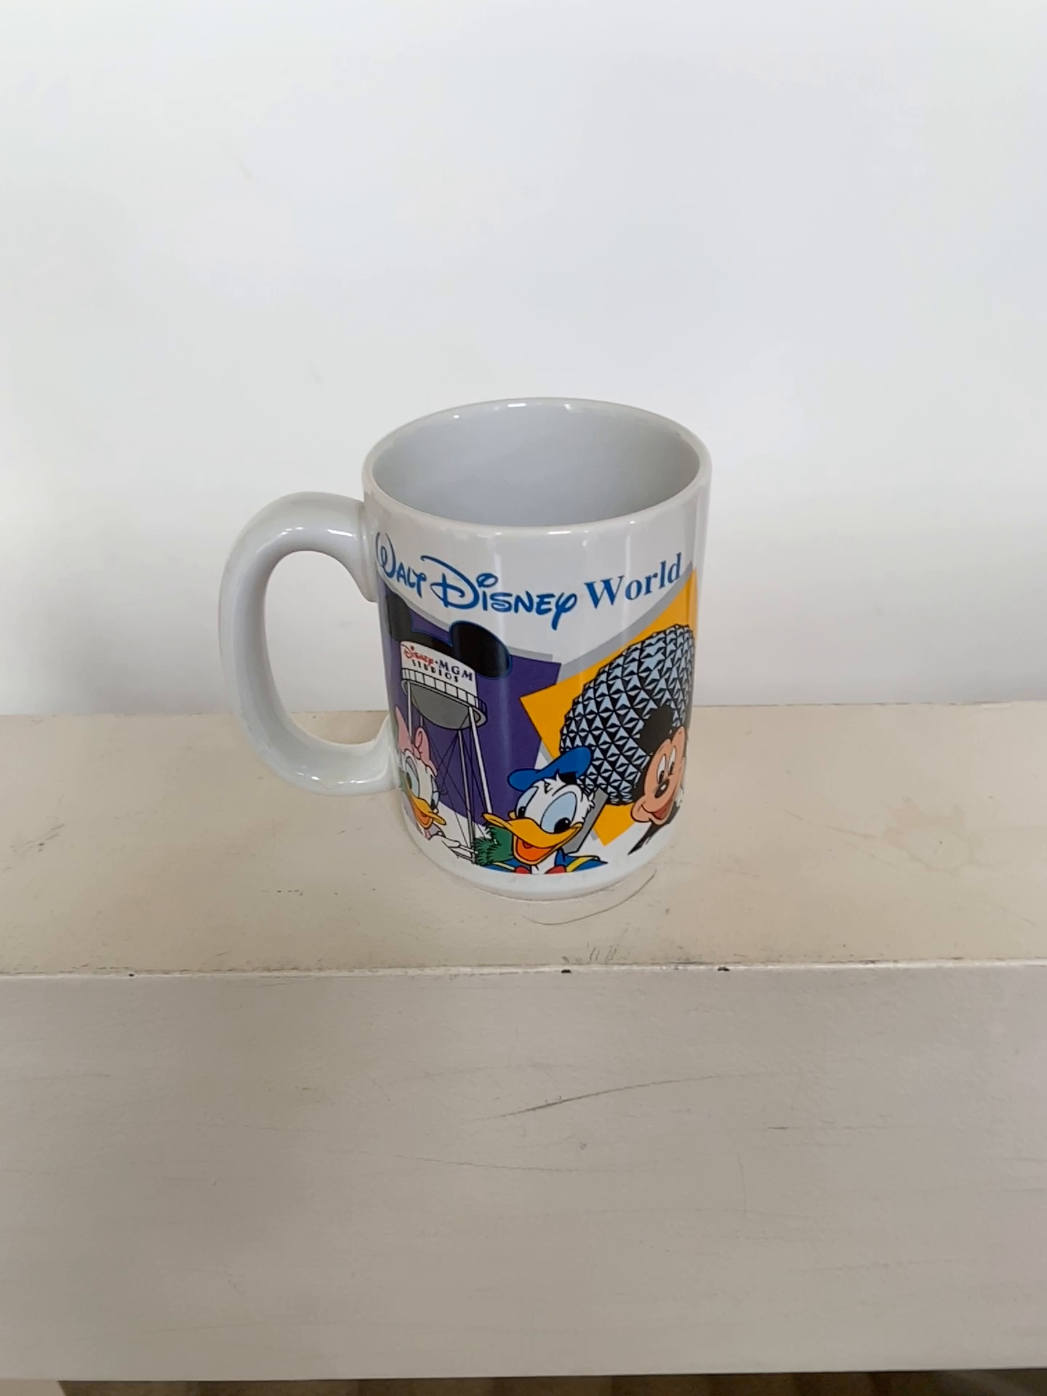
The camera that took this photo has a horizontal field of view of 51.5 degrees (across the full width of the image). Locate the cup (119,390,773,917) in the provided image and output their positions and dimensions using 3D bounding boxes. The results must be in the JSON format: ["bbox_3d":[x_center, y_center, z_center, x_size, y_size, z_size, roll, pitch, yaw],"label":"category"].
[{"bbox_3d":[-0.013,-0.015,0.292,0.140,0.109,0.080,3,33,6],"label":"cup"}]
